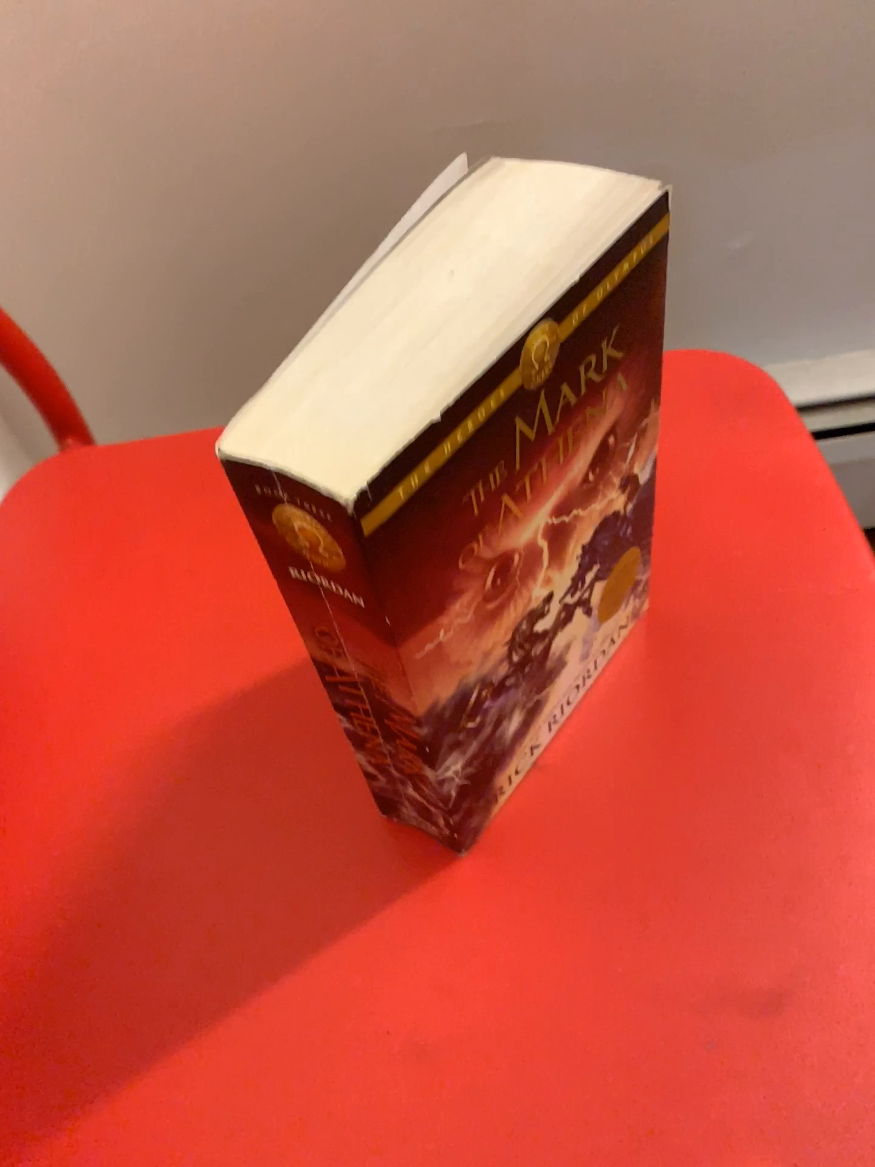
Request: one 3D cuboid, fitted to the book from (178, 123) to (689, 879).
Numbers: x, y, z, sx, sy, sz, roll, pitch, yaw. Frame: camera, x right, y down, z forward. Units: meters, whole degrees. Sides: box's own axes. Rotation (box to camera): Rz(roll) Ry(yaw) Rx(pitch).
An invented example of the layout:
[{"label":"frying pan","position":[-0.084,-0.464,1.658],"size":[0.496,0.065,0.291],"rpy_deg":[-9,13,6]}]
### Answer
[{"label":"book","position":[0.018,-0.015,0.294],"size":[0.061,0.193,0.140],"rpy_deg":[21,58,24]}]
